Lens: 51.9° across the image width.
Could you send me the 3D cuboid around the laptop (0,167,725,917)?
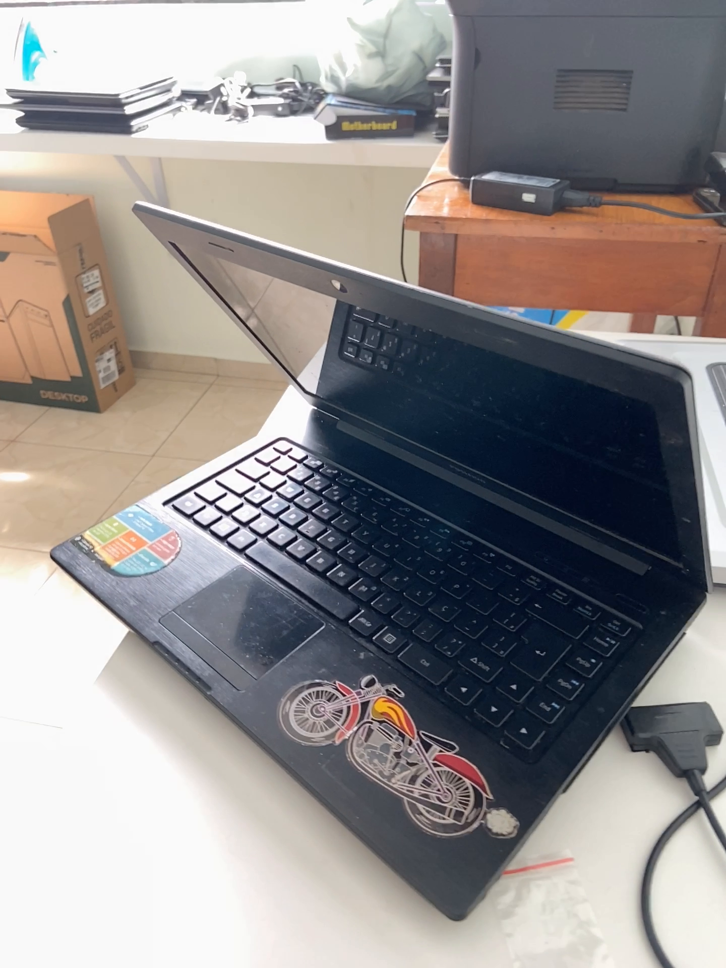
[{"bbox_3d":[-0.007,-0.024,0.400,0.330,0.189,0.234,27,45,35],"label":"laptop"}]
